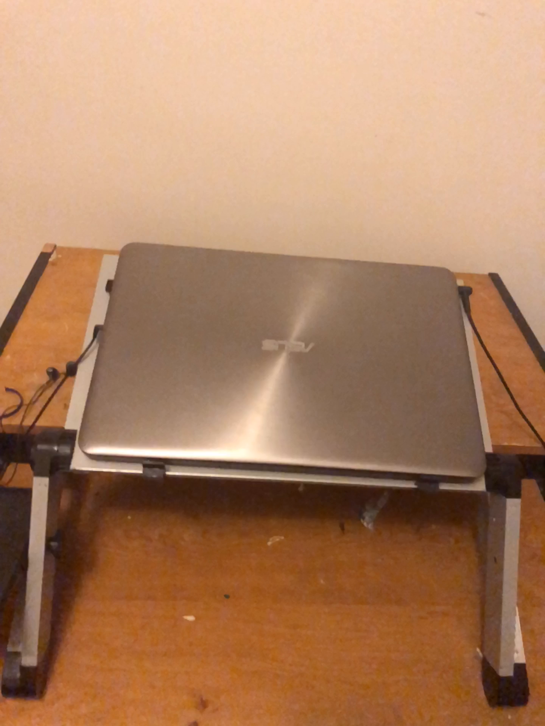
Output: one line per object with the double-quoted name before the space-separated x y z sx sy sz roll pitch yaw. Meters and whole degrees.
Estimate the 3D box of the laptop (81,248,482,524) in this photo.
"laptop" 0.010 0.015 0.631 0.361 0.071 0.250 4 55 -1
